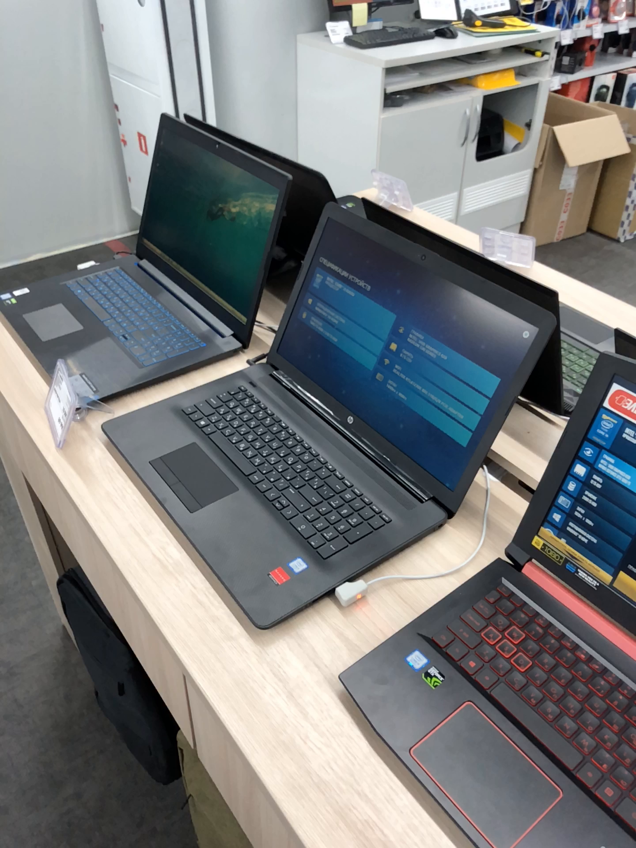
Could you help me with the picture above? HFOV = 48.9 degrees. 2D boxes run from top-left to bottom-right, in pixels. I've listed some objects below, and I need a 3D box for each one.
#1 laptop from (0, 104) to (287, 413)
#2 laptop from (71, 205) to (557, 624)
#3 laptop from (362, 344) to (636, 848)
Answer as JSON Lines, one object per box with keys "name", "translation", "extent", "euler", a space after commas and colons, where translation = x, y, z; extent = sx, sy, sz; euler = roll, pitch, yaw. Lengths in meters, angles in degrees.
{"name": "laptop", "translation": [-0.300, -0.292, 1.105], "extent": [0.373, 0.226, 0.381], "euler": [-27, 49, -29]}
{"name": "laptop", "translation": [-0.017, -0.054, 0.834], "extent": [0.373, 0.213, 0.389], "euler": [-25, 45, -27]}
{"name": "laptop", "translation": [0.265, 0.191, 0.517], "extent": [0.303, 0.224, 0.404], "euler": [-28, 46, -27]}
